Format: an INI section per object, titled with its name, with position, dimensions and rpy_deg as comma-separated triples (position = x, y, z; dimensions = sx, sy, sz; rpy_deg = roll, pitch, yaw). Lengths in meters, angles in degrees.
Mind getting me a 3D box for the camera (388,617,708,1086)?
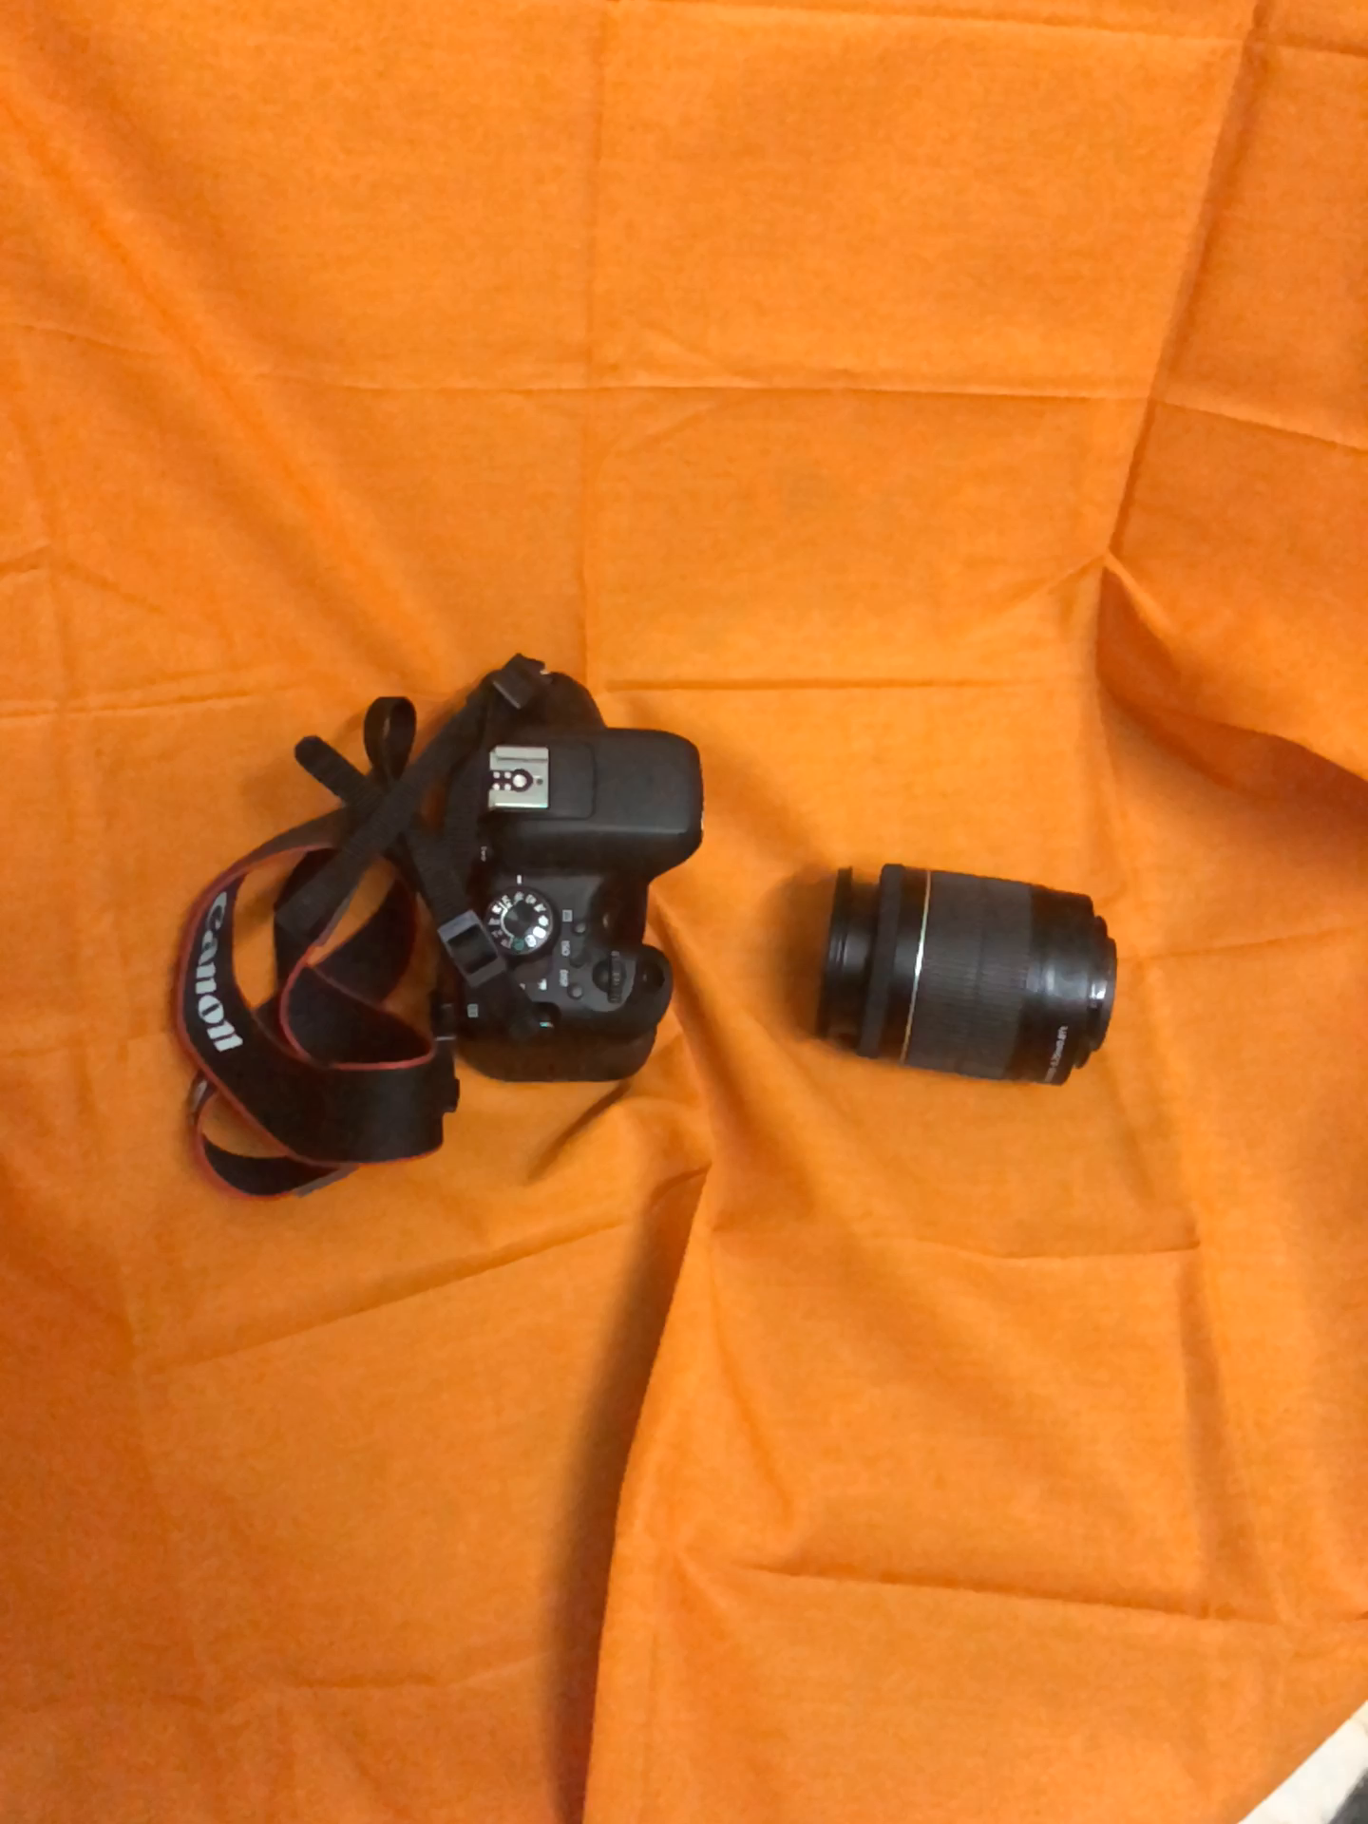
[camera]
position = -0.045, -0.018, 0.491
dimensions = 0.092, 0.071, 0.134
rpy_deg = 0, 69, -7
